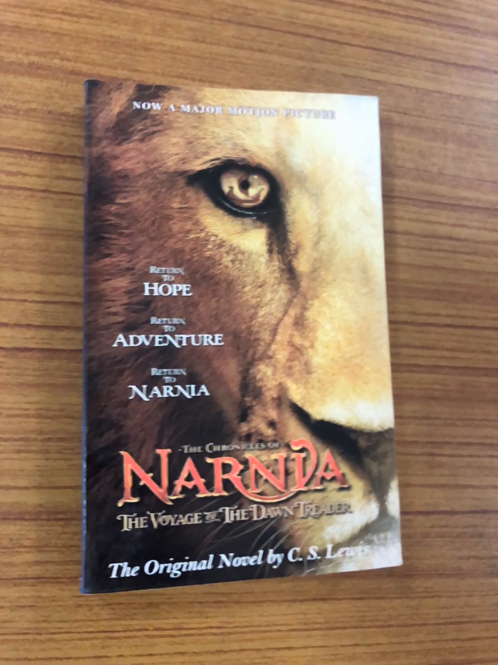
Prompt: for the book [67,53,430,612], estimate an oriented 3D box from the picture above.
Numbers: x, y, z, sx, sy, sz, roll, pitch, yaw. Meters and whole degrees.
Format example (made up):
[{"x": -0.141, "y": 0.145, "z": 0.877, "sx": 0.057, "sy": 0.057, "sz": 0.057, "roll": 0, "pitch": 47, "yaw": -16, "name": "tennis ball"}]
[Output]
[{"x": -0.002, "y": -0.004, "z": 0.208, "sx": 0.120, "sy": 0.030, "sz": 0.180, "roll": 0, "pitch": 83, "yaw": -12, "name": "book"}]
